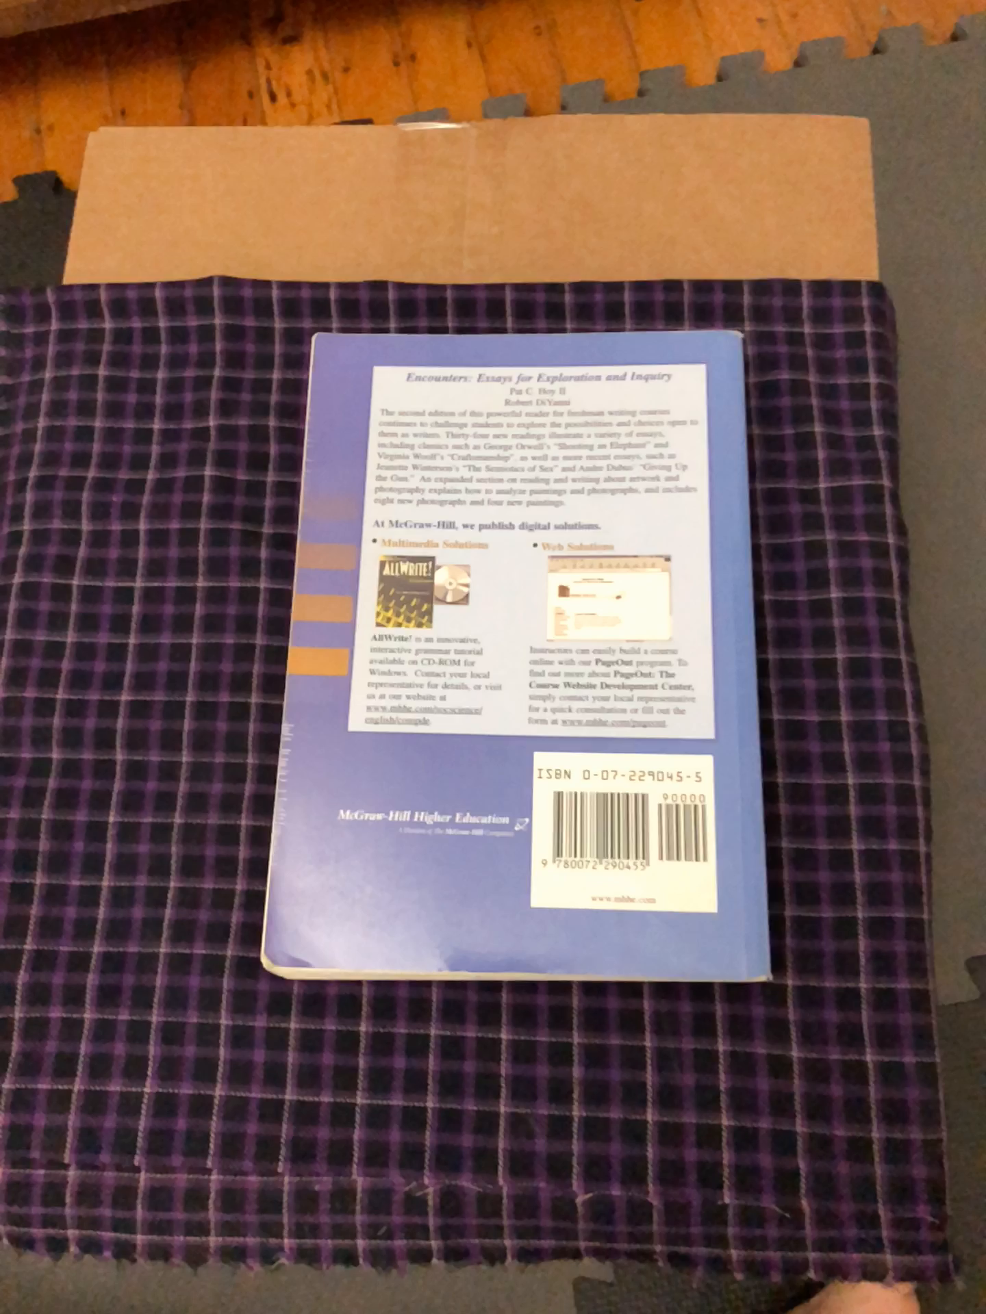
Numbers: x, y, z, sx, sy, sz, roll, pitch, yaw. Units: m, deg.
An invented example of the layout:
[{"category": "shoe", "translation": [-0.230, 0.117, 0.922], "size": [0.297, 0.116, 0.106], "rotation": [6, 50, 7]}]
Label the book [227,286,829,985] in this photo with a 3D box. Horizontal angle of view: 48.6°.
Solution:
[{"category": "book", "translation": [0.011, -0.011, 0.381], "size": [0.180, 0.040, 0.240], "rotation": [-1, 73, 4]}]
